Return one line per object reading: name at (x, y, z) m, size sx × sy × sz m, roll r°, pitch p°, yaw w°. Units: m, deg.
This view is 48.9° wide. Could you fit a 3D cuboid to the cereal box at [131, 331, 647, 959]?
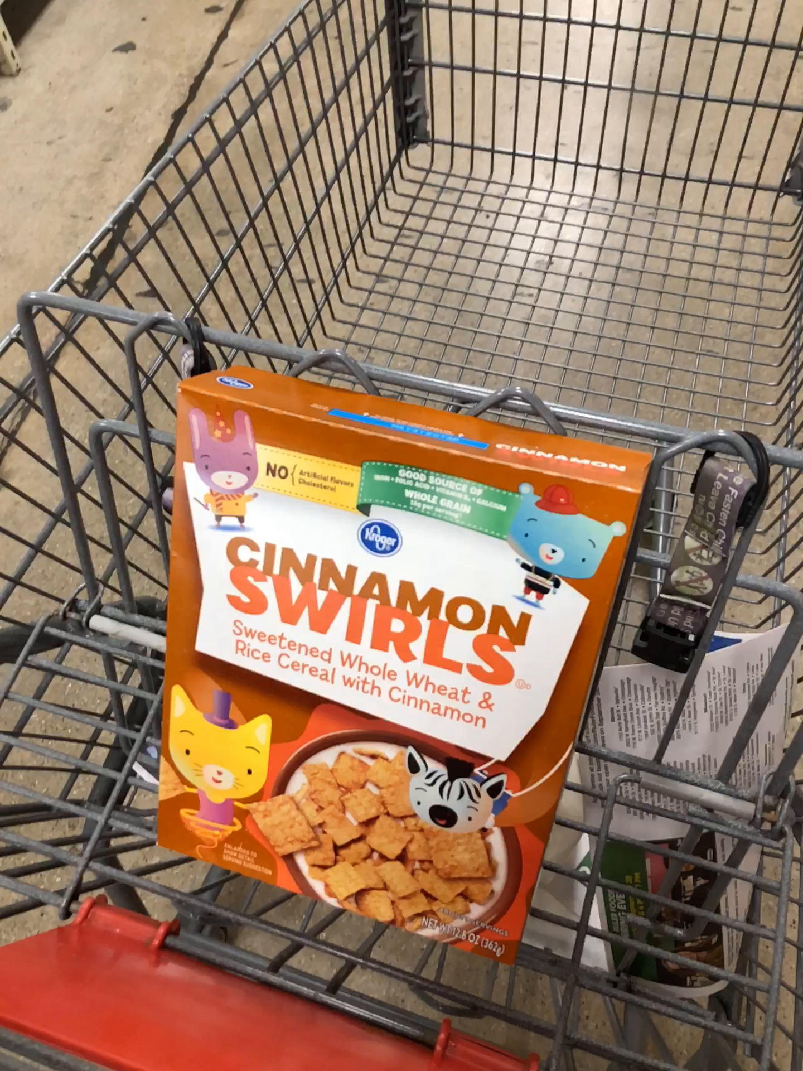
cereal box at (-0.020, 0.054, 0.417) m, size 0.210 × 0.260 × 0.050 m, roll 12°, pitch 24°, yaw 12°
